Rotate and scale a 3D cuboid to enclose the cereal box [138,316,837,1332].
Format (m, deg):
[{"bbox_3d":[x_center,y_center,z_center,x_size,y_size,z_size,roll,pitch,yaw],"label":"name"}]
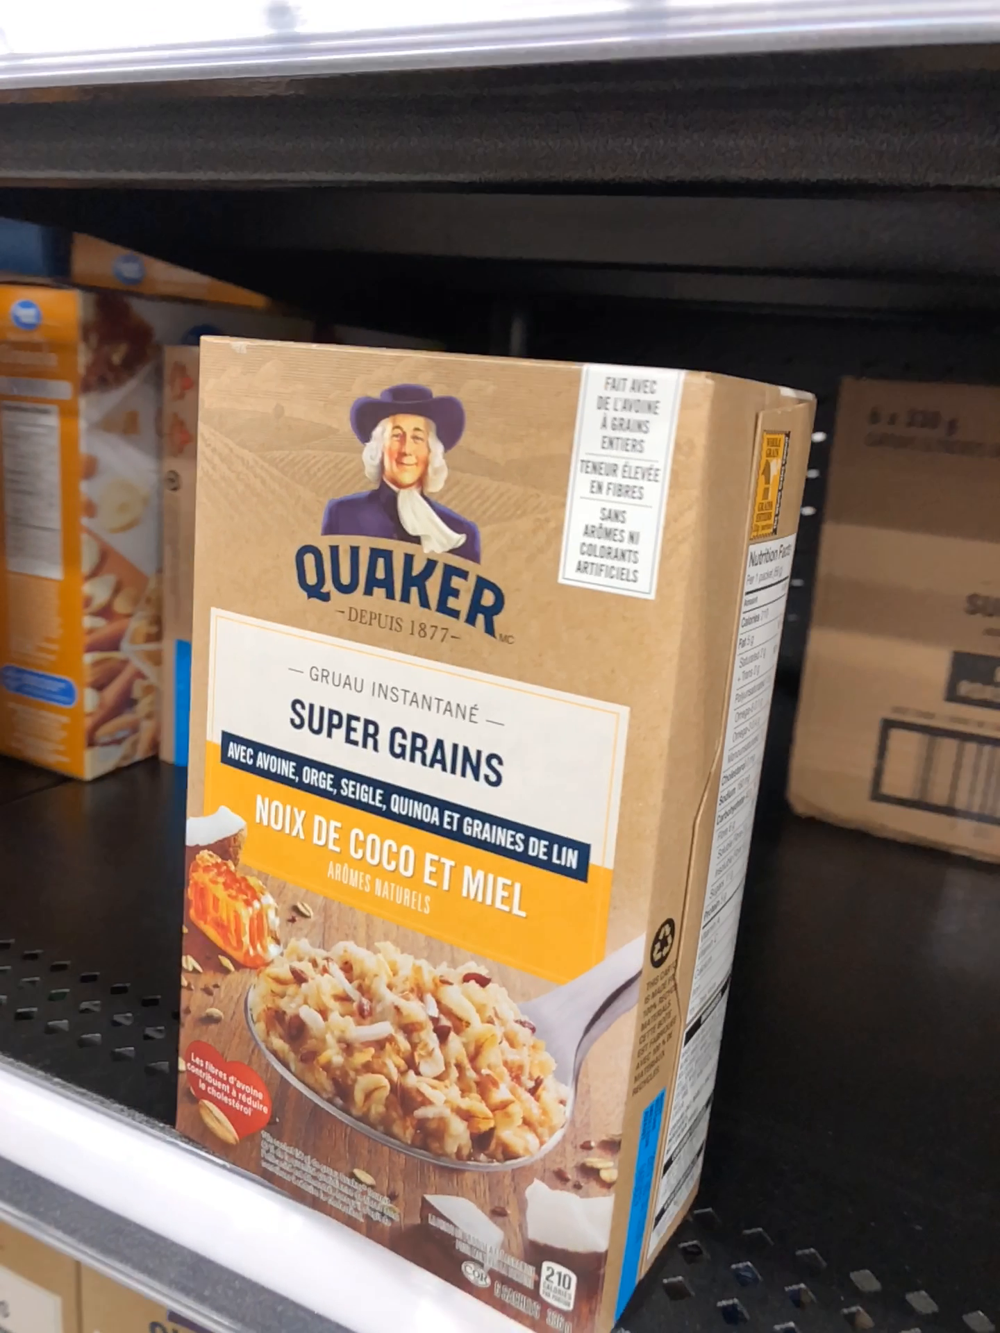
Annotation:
[{"bbox_3d":[-0.011,0.030,0.251,0.130,0.199,0.060,12,17,28],"label":"cereal box"}]
